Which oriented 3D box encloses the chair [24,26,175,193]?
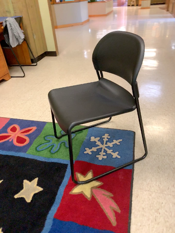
[{"bbox_3d":[0.034,-0.104,1.140,0.630,0.736,0.614,-15,35,-15],"label":"chair"}]
